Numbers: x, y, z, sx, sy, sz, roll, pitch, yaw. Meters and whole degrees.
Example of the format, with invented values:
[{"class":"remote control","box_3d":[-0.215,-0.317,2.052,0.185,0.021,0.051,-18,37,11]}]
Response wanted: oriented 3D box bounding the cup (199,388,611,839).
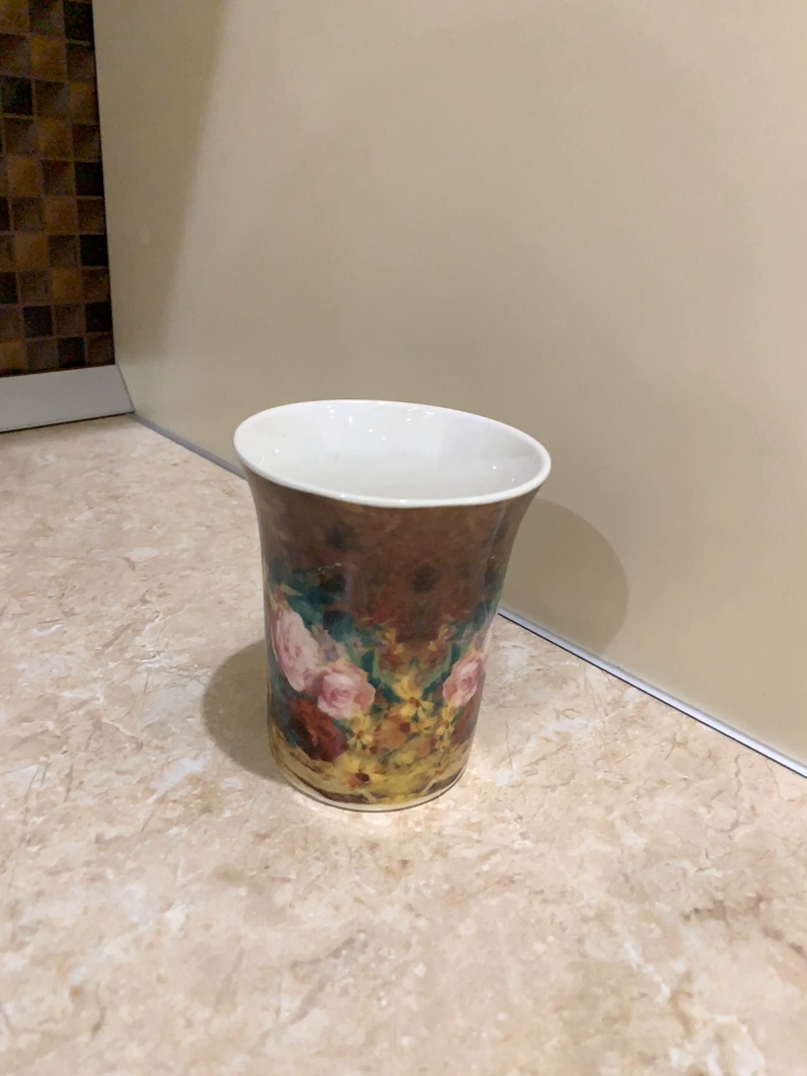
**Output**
[{"class":"cup","box_3d":[-0.006,0.017,0.255,0.094,0.096,0.102,4,25,-2]}]
